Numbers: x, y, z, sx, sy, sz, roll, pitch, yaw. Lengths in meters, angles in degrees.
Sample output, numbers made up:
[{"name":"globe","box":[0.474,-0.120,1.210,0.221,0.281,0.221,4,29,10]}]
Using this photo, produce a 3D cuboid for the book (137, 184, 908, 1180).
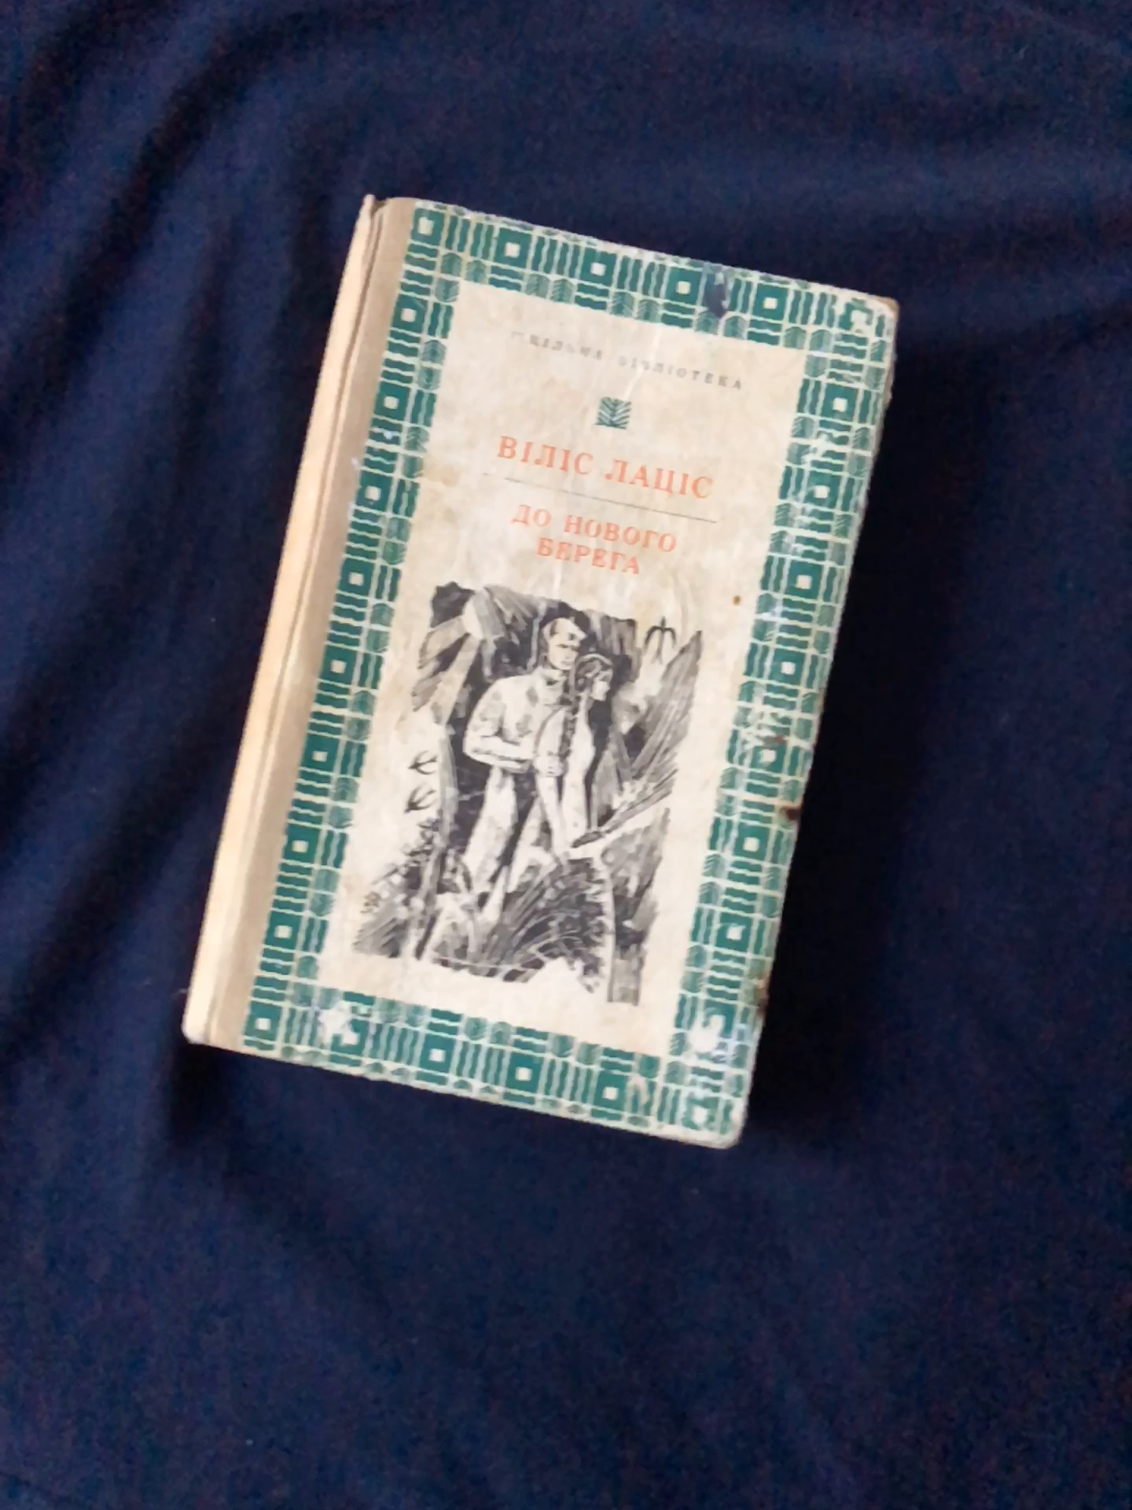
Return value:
[{"name":"book","box":[-0.007,-0.018,0.300,0.134,0.040,0.201,11,85,0]}]
